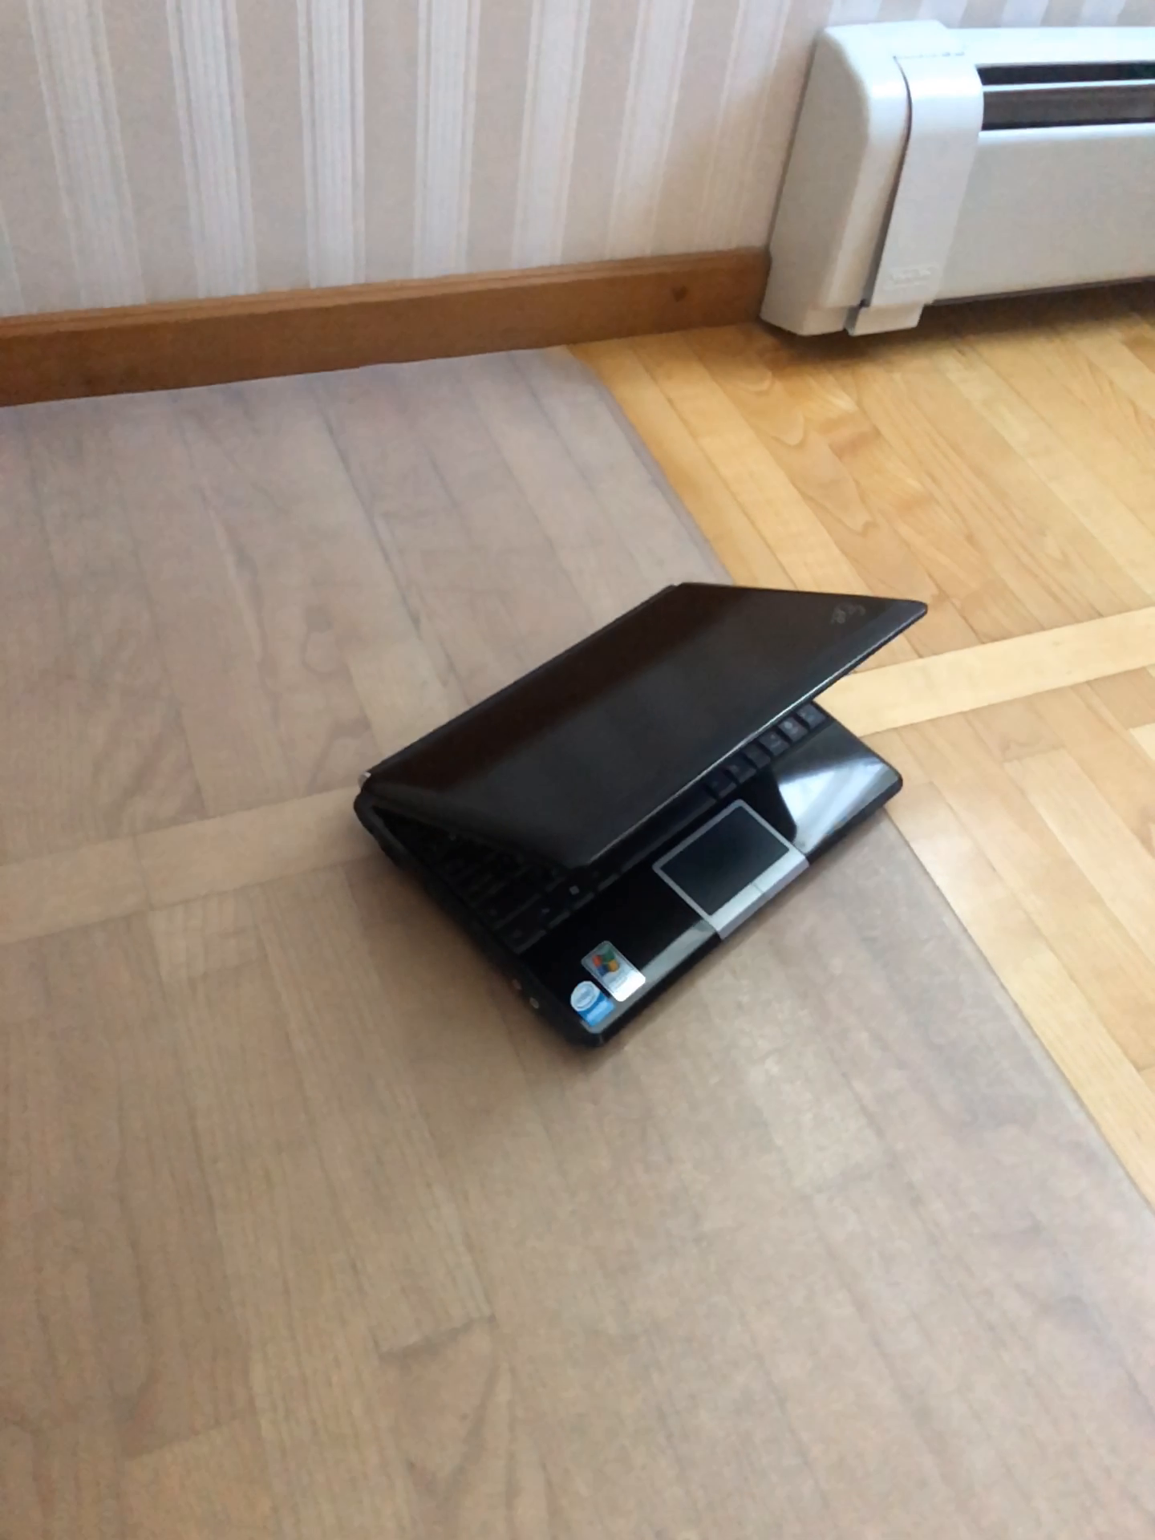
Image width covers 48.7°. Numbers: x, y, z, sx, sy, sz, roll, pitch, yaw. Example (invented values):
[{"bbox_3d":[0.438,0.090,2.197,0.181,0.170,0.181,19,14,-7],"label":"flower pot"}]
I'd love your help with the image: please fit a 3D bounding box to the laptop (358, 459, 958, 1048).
[{"bbox_3d":[0.044,-0.023,0.677,0.182,0.102,0.265,42,55,19],"label":"laptop"}]
